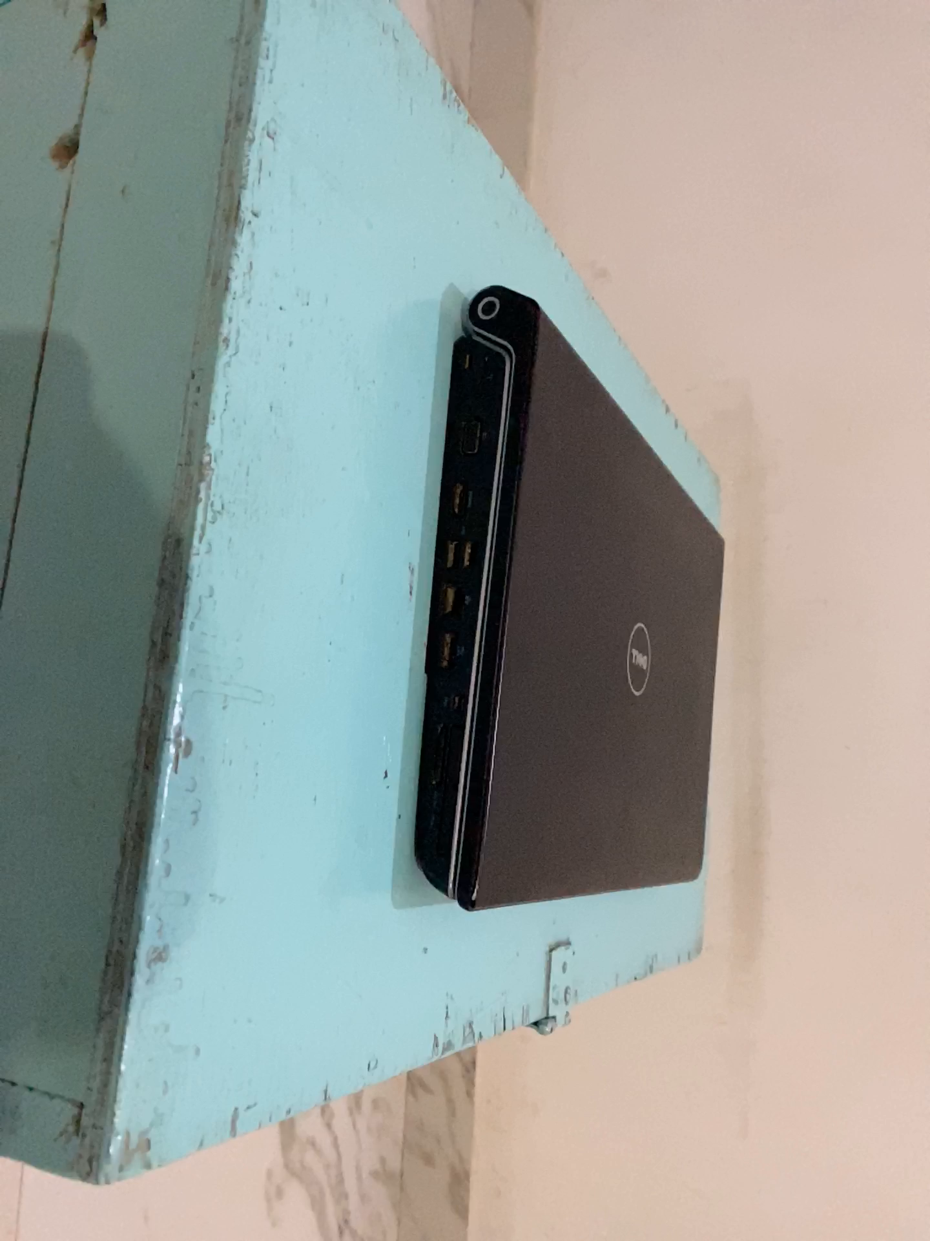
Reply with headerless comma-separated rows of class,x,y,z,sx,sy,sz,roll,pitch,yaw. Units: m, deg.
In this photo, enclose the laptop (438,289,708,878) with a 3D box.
laptop,0.094,0.019,0.593,0.387,0.004,0.269,24,70,-60
